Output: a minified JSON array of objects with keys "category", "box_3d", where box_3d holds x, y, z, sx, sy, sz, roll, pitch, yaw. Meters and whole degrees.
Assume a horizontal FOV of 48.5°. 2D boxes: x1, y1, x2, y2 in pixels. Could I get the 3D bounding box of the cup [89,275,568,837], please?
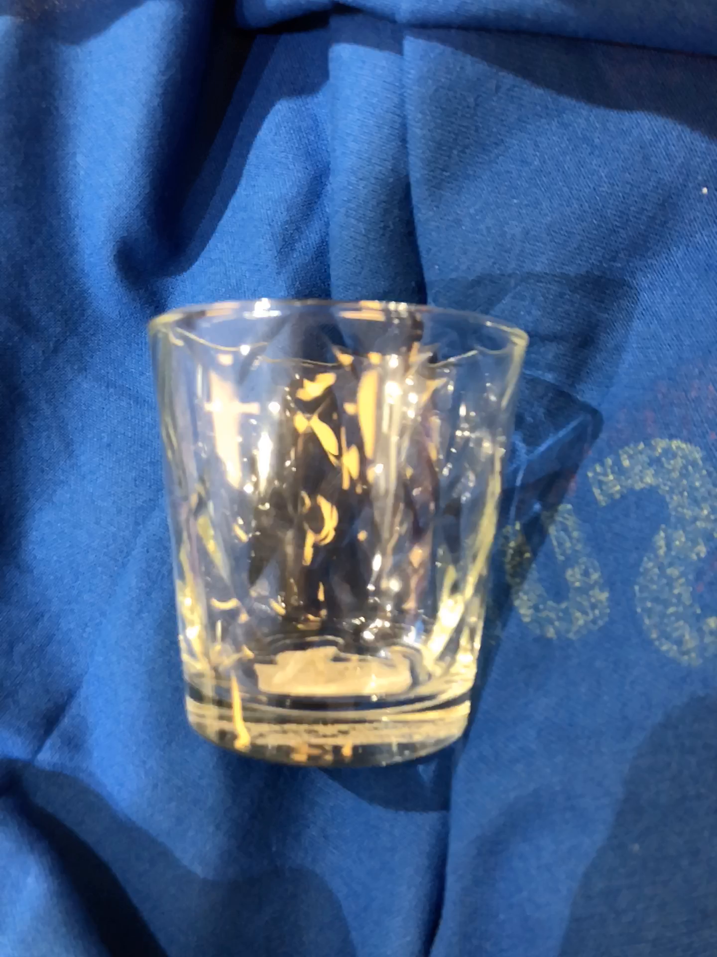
[{"category":"cup","box_3d":[-0.001,0.009,0.174,0.080,0.070,0.090,2,95,23]}]
